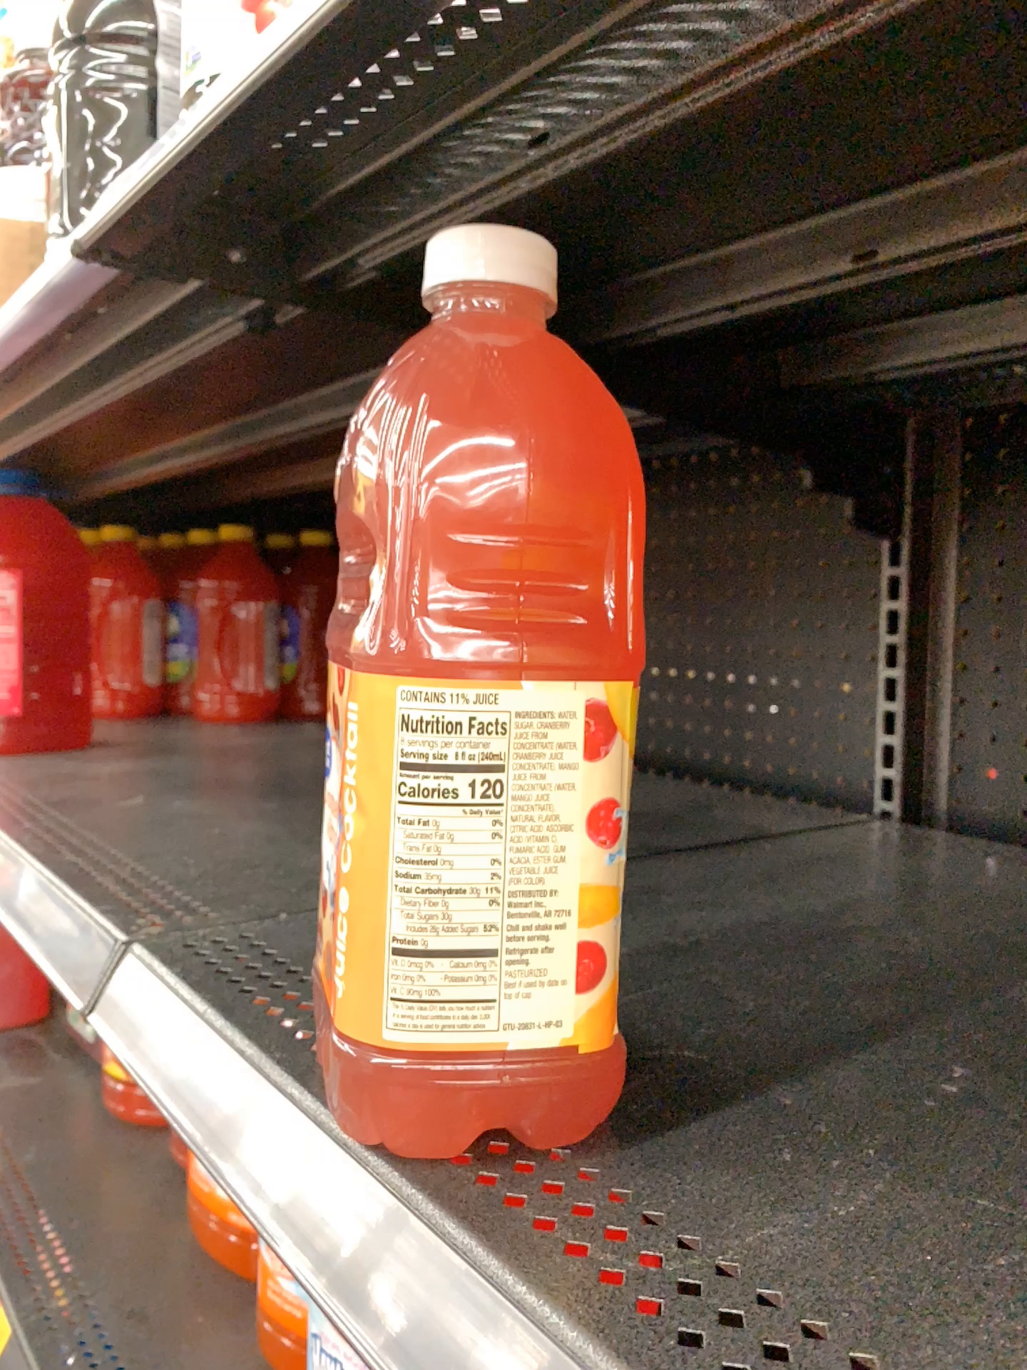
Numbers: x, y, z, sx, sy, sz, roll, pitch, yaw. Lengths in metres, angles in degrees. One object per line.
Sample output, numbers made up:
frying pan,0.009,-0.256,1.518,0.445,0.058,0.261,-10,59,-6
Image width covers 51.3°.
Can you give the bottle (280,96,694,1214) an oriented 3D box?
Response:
bottle,-0.018,-0.008,0.330,0.101,0.272,0.119,0,4,-14
